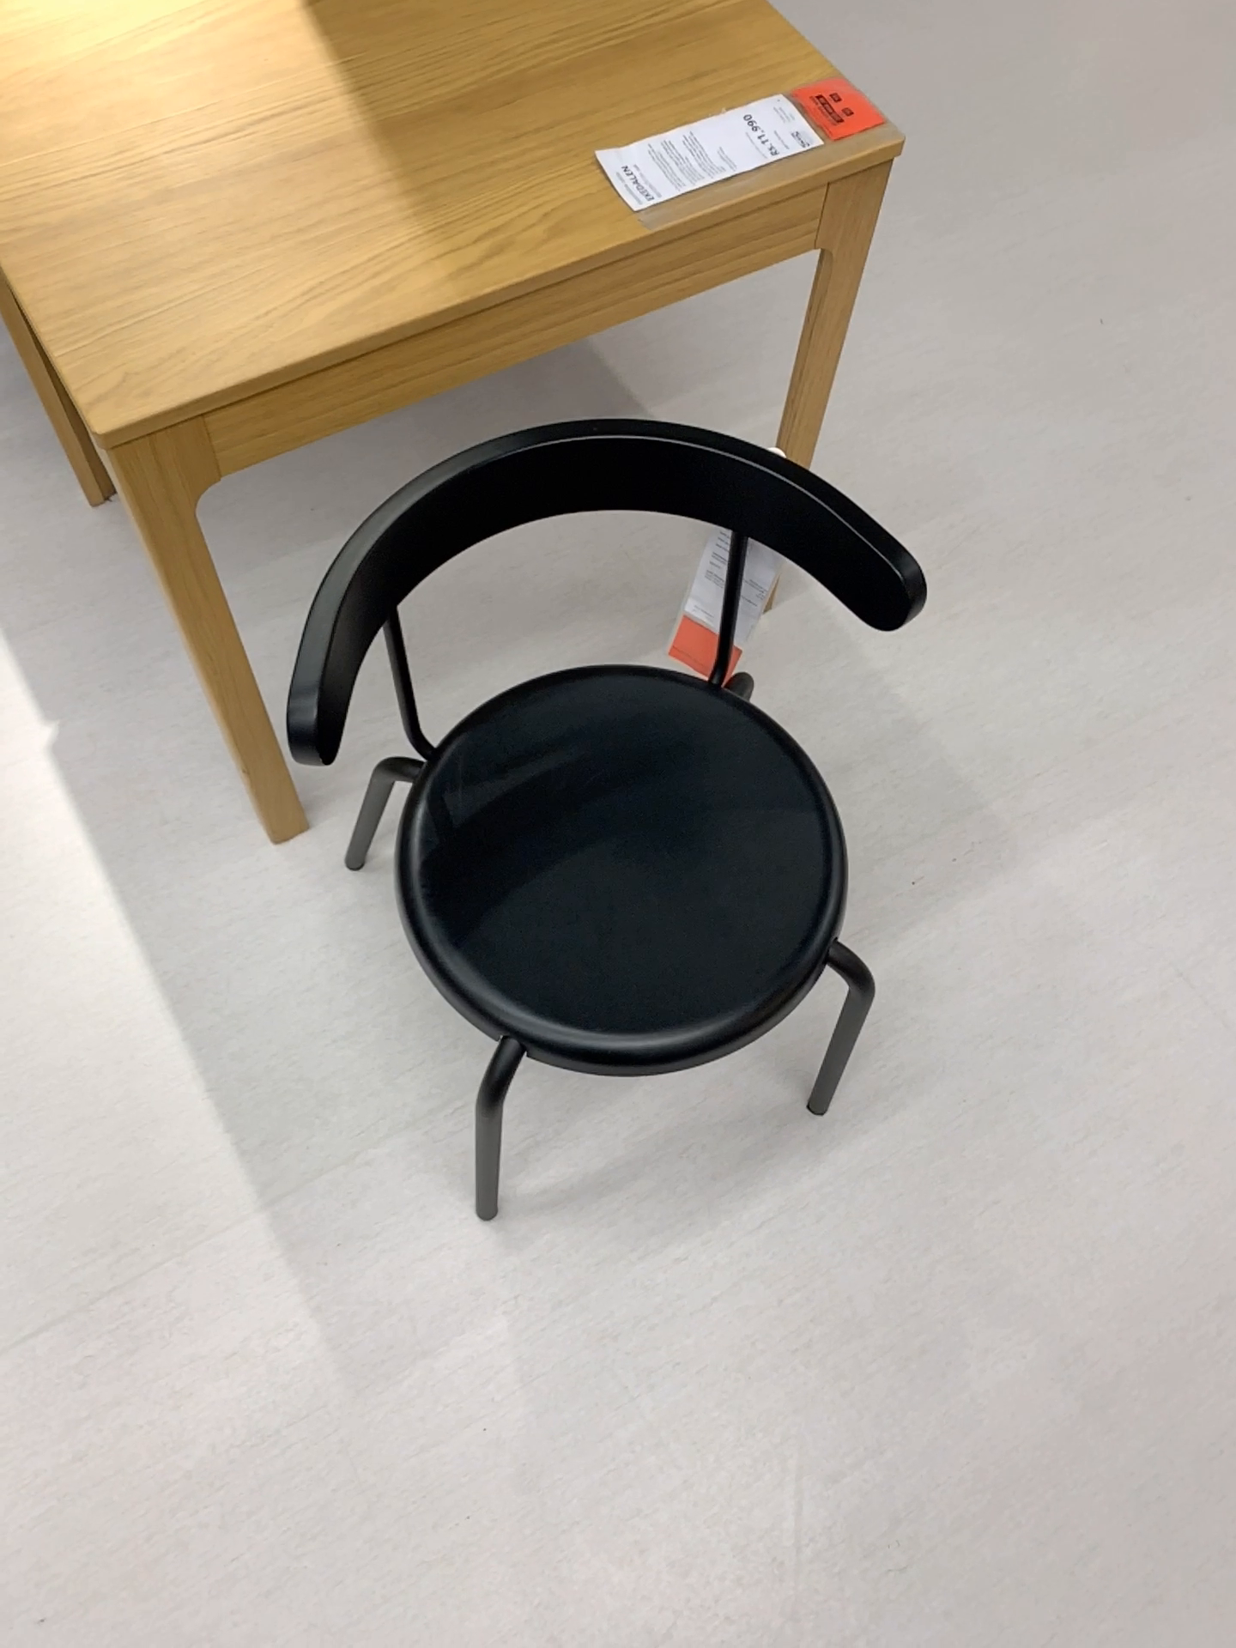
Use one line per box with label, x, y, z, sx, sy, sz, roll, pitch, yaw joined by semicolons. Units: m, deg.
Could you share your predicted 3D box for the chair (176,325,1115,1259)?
chair;-0.022;-0.001;1.271;0.590;0.599;0.611;-14;65;-11
